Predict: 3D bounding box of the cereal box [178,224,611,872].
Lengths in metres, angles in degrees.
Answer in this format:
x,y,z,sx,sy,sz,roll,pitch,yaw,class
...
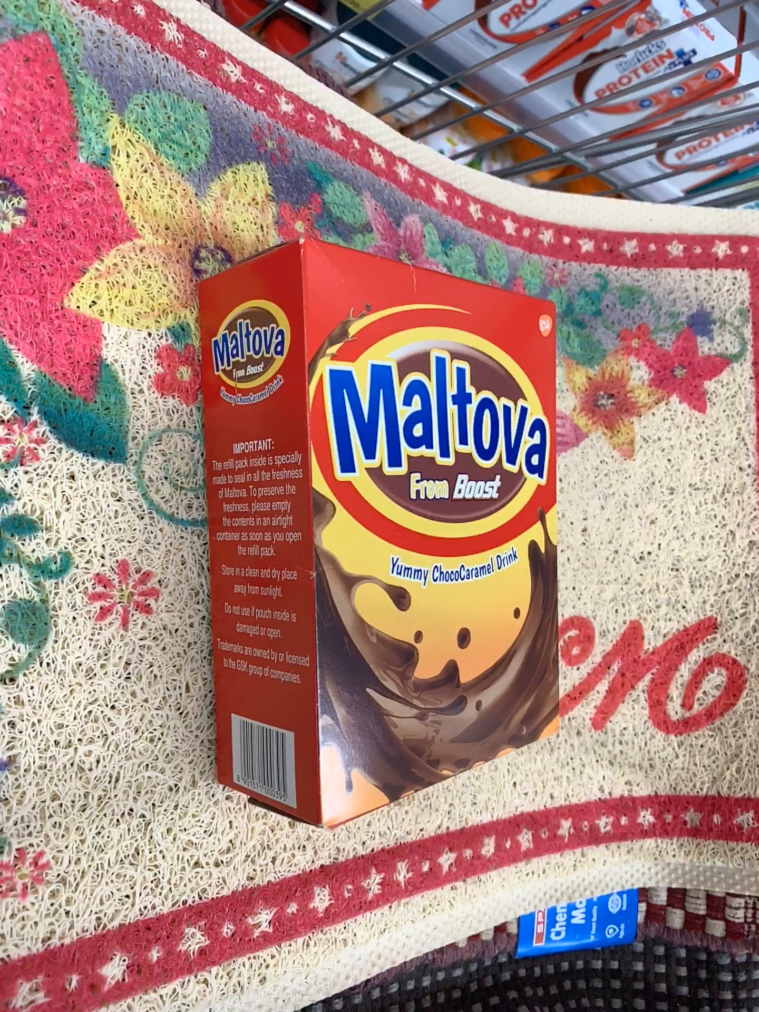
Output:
x,y,z,sx,sy,sz,roll,pitch,yaw,class
0.014,0.010,0.275,0.151,0.050,0.170,-2,90,-42,cereal box
